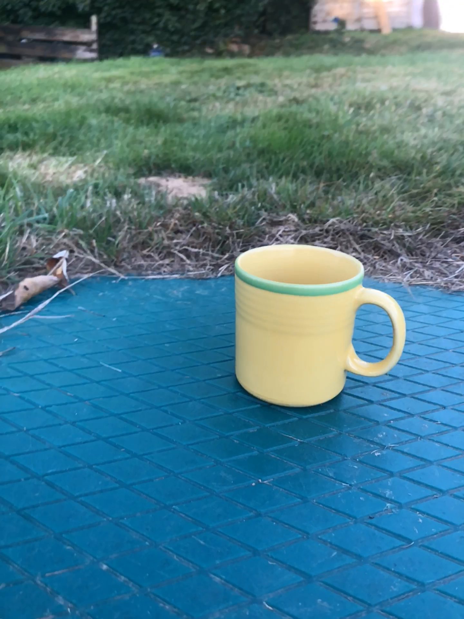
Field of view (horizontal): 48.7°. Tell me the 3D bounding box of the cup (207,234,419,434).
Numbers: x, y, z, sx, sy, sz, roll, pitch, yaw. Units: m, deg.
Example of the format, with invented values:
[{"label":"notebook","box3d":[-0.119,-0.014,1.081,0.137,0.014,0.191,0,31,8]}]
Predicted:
[{"label":"cup","box3d":[0.056,0.009,0.350,0.115,0.090,0.087,10,26,25]}]
